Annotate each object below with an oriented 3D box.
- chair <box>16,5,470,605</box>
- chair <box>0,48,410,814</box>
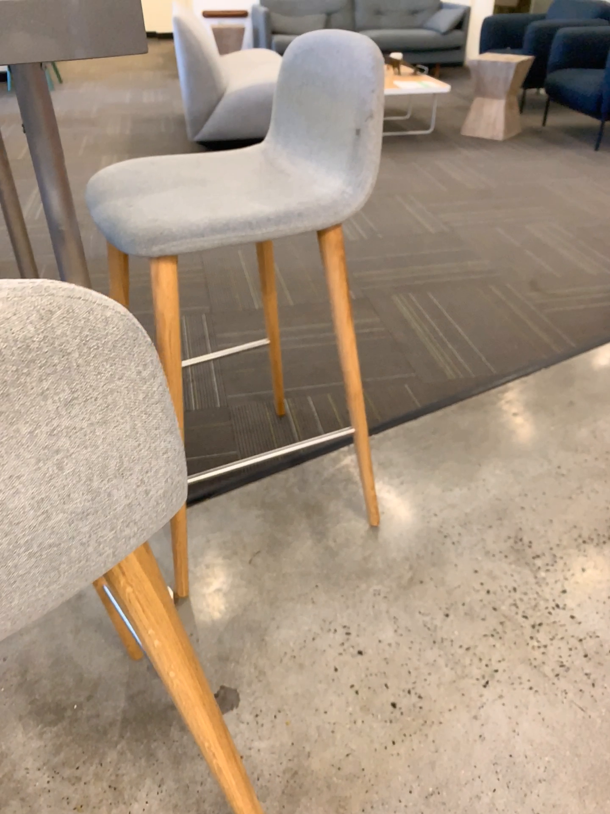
[{"bbox_3d":[-0.165,-0.254,1.338,0.540,0.964,0.714,-16,38,-21],"label":"chair"},{"bbox_3d":[-0.342,0.226,0.653,0.591,0.964,0.543,-22,41,-28],"label":"chair"}]
